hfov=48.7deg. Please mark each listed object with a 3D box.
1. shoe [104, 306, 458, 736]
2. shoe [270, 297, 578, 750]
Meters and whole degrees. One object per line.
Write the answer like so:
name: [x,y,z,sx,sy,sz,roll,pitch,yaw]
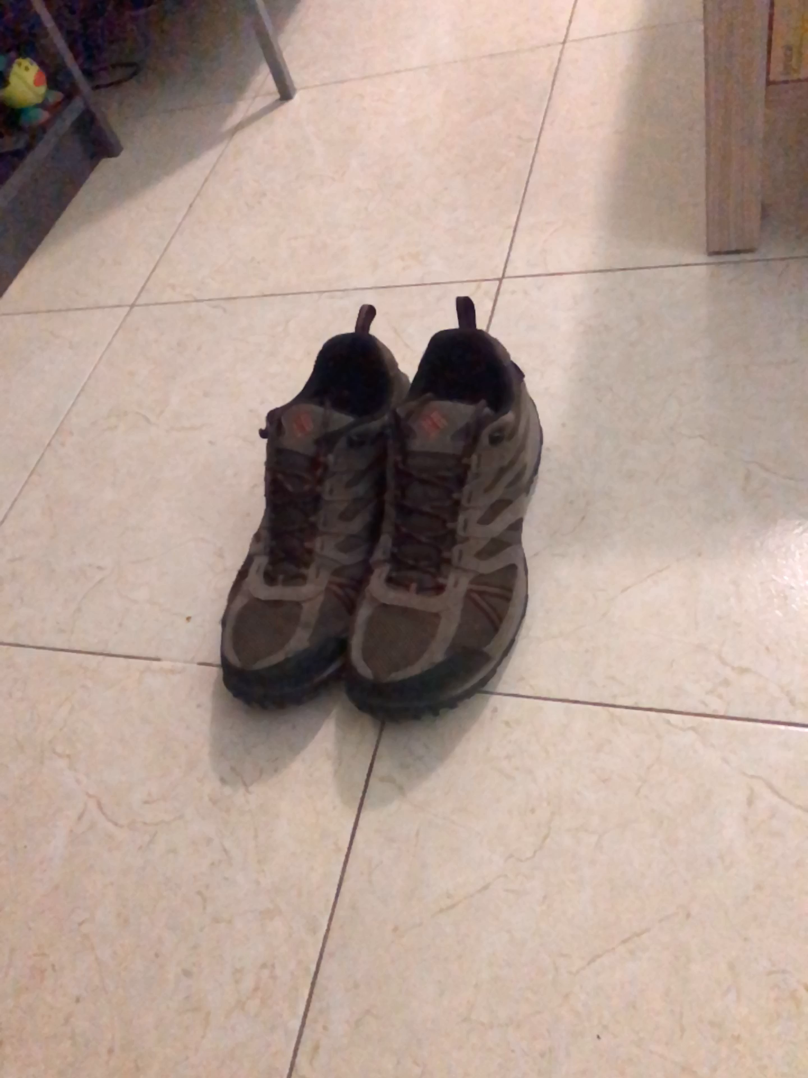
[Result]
shoe: [-0.074,-0.028,0.675,0.130,0.110,0.311,5,56,23]
shoe: [0.033,-0.024,0.653,0.120,0.120,0.311,4,55,23]
